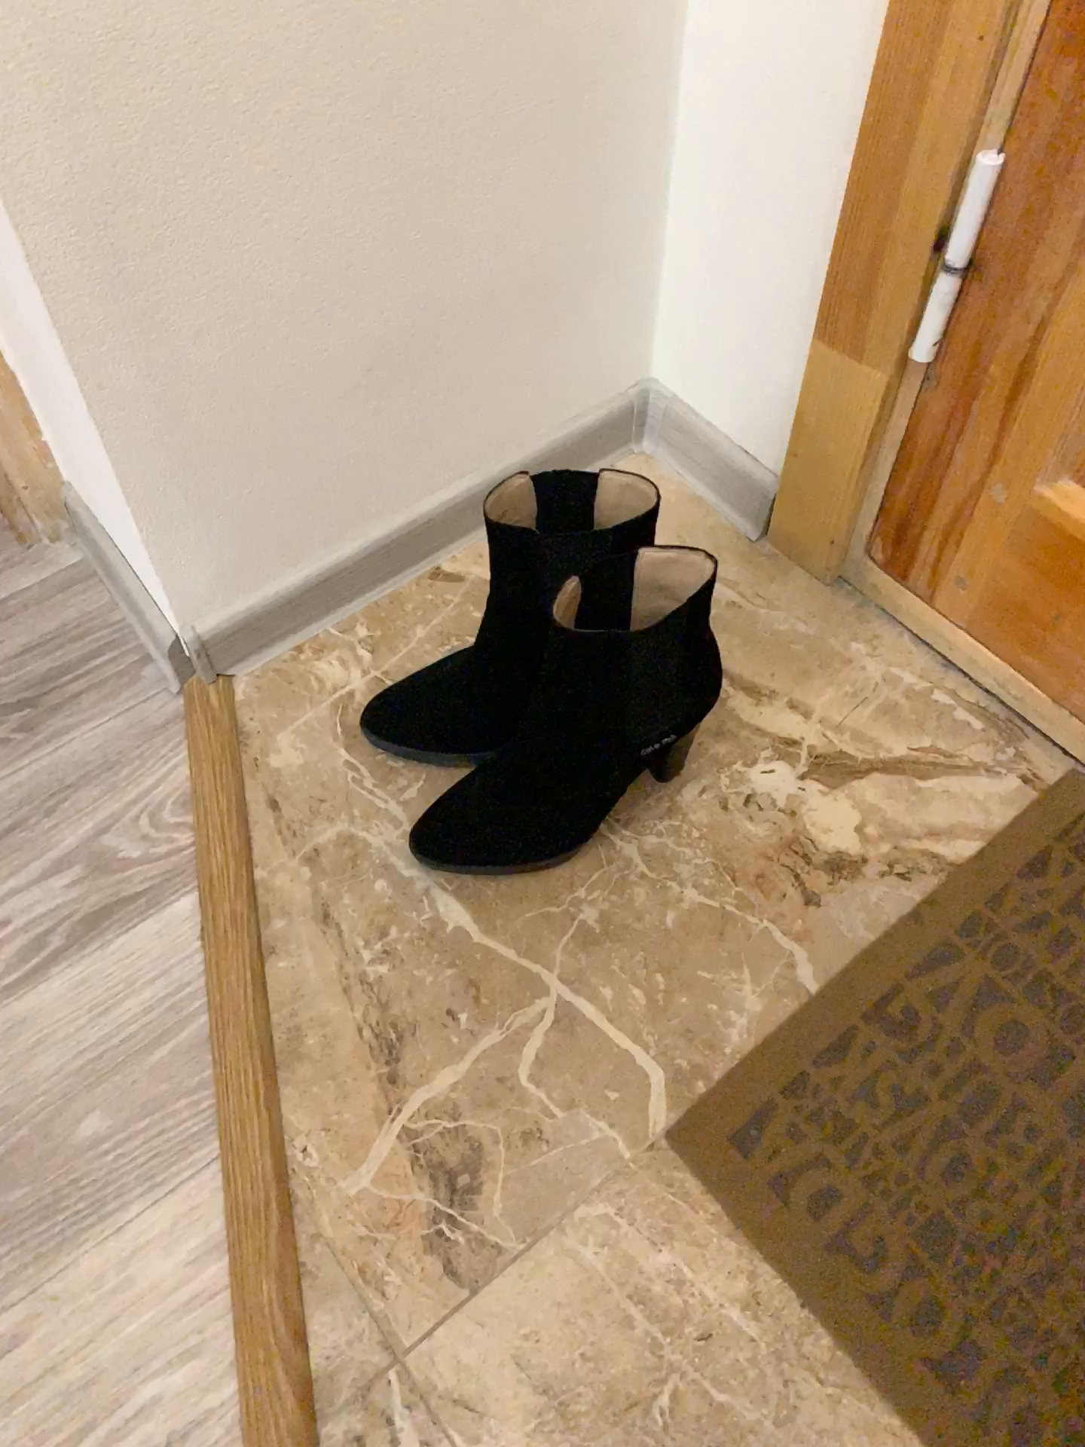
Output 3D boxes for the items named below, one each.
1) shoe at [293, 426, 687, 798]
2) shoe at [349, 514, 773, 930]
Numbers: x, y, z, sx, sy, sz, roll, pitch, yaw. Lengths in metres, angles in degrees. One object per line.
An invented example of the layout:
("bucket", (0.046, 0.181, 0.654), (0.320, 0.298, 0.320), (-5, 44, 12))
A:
("shoe", (-0.031, -0.067, 0.731), (0.214, 0.199, 0.087), (-15, 56, -10))
("shoe", (0.011, 0.005, 0.686), (0.214, 0.199, 0.087), (-22, 58, -15))
